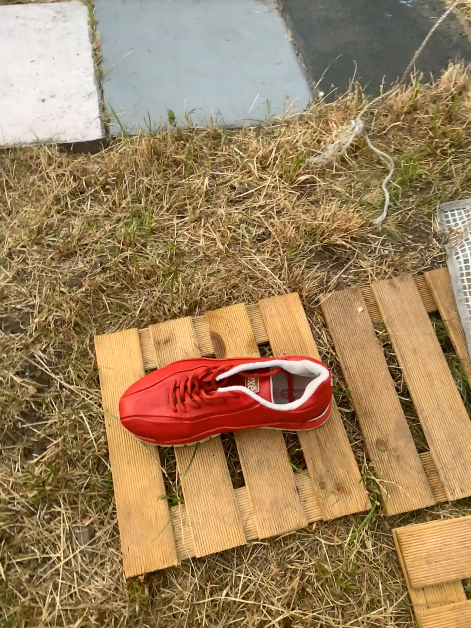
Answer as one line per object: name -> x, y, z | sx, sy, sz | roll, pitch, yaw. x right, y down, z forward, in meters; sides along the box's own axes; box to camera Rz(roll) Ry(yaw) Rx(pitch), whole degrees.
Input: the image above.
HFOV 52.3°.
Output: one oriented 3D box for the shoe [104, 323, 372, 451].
shoe -> -0.003, 0.090, 0.577 | 0.280, 0.129, 0.100 | -3, 65, -7
